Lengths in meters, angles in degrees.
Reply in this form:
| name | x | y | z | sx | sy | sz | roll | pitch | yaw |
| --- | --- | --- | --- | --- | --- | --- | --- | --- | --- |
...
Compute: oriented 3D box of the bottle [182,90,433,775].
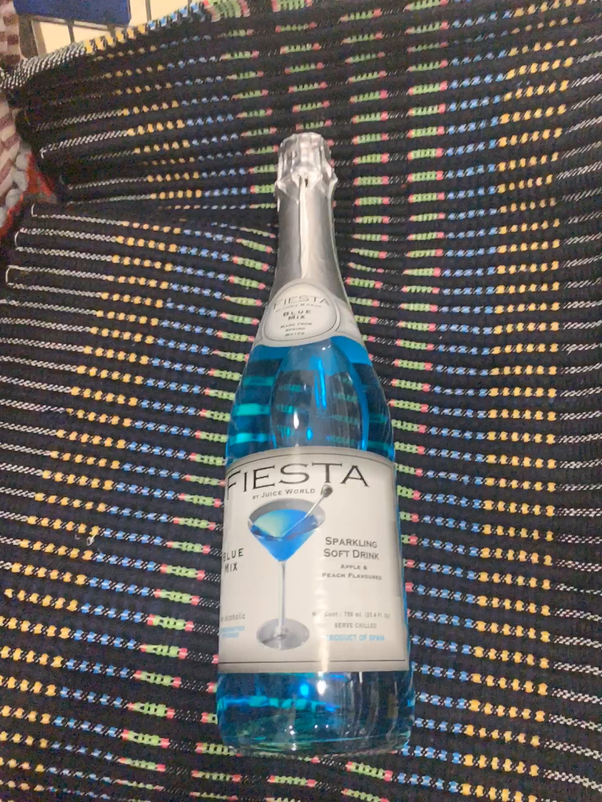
| name | x | y | z | sx | sy | sz | roll | pitch | yaw |
| --- | --- | --- | --- | --- | --- | --- | --- | --- | --- |
| bottle | 0.009 | 0.002 | 0.316 | 0.080 | 0.100 | 0.310 | -6 | 65 | 13 |
